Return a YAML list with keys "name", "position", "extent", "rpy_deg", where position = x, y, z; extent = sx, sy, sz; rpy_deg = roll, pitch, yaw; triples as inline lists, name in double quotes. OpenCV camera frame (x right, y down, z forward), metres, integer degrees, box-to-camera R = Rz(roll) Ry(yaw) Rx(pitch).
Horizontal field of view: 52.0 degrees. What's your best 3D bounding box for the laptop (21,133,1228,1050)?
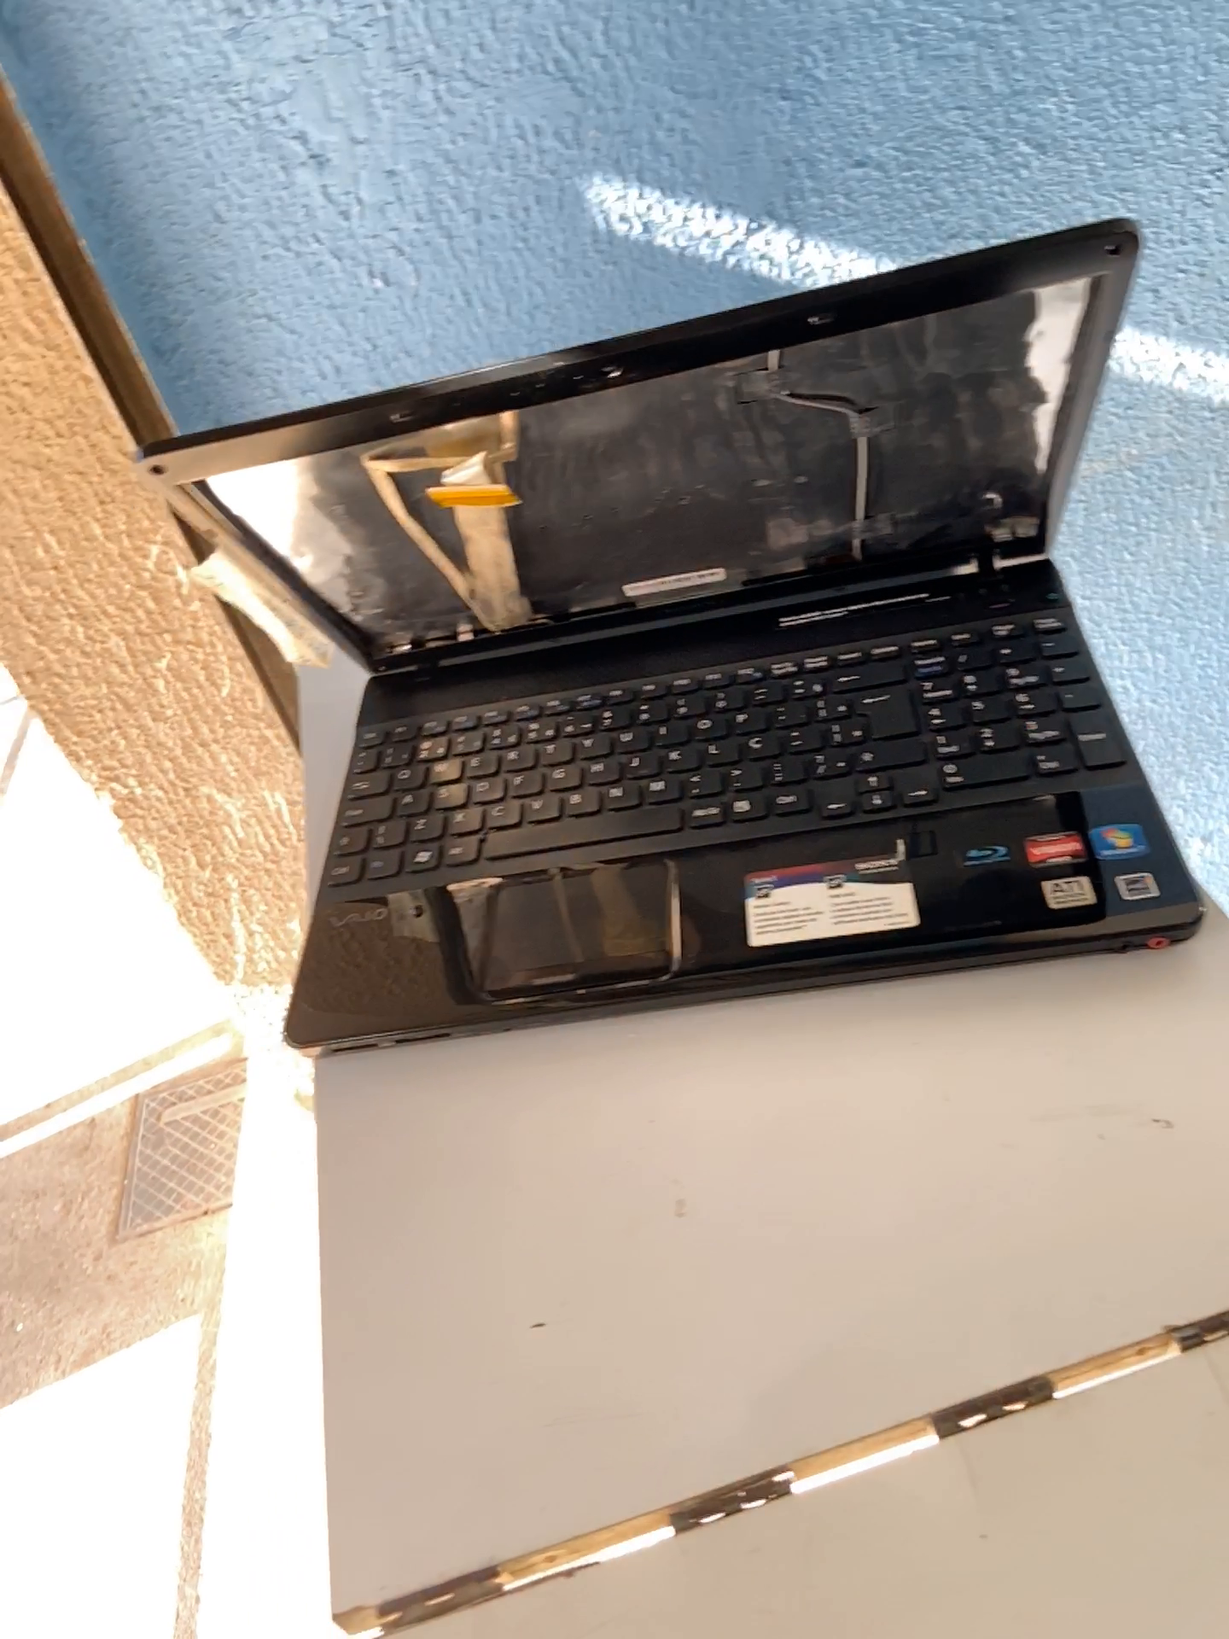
- name: "laptop"
  position: [0.016, -0.091, 0.512]
  extent: [0.364, 0.193, 0.243]
  rpy_deg: [-9, 42, 10]
